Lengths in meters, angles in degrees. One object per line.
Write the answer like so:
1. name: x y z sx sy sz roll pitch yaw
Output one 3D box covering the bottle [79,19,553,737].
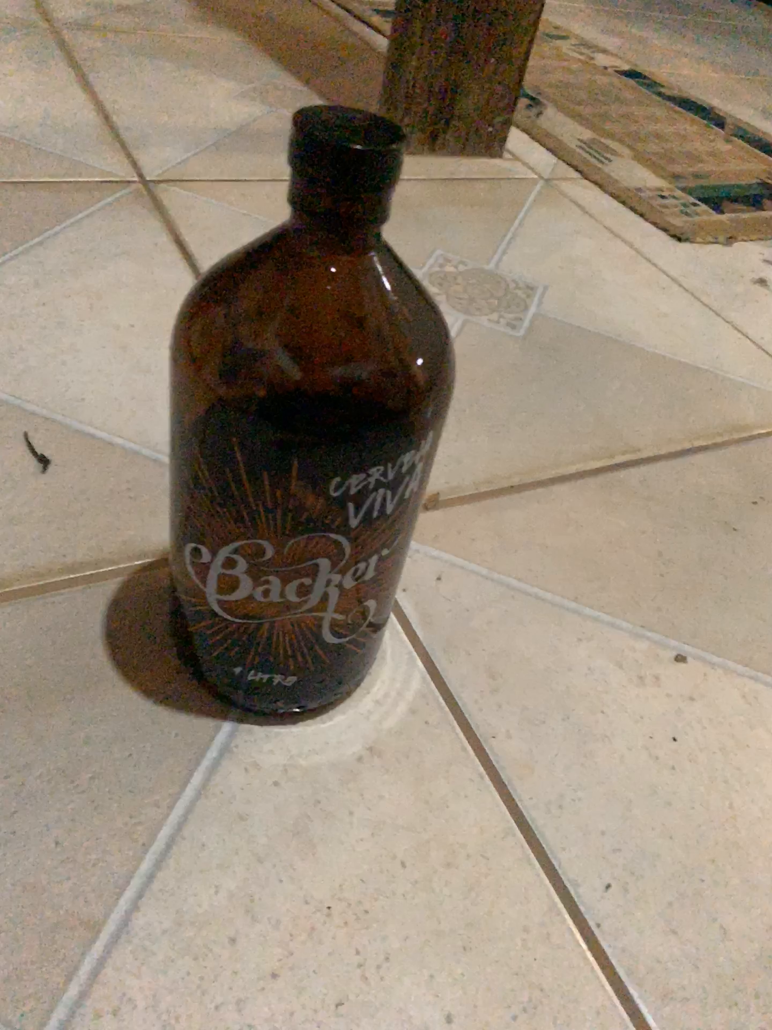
1. bottle: -0.025 -0.028 0.269 0.100 0.209 0.090 12 44 -1
